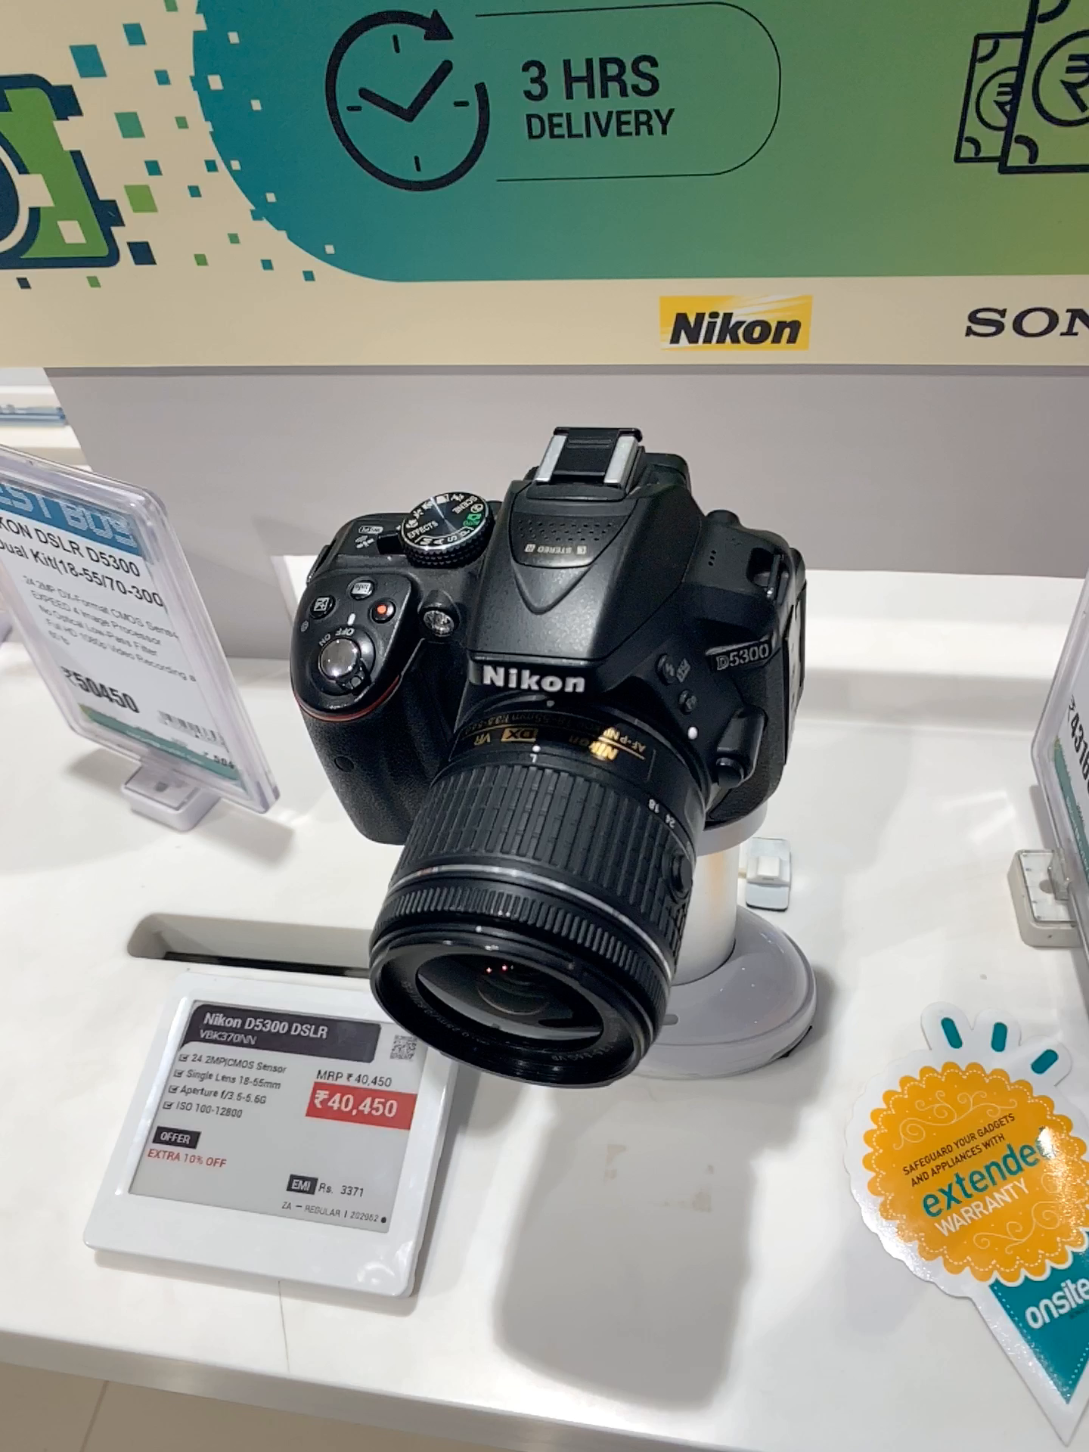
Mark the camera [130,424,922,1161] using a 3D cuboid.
[{"bbox_3d":[0.007,0.007,0.235,0.118,0.082,0.123,3,47,10],"label":"camera"}]
